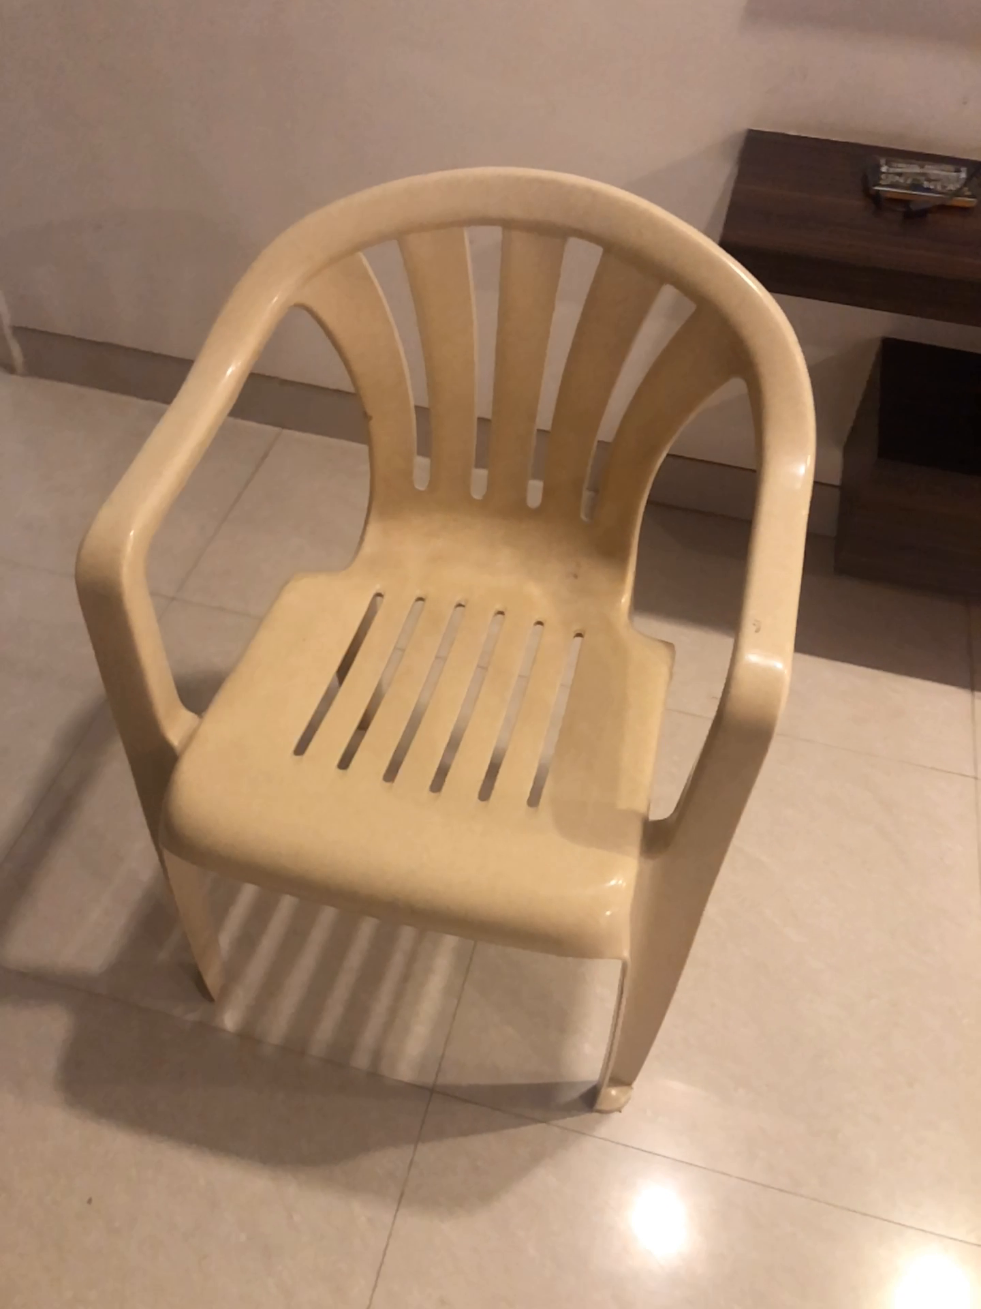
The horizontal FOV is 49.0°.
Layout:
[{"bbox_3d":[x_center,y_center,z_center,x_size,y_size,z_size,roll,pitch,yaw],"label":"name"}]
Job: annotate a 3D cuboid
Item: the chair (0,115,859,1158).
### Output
[{"bbox_3d":[-0.031,0.011,1.090,0.570,0.775,0.594,11,49,8],"label":"chair"}]
